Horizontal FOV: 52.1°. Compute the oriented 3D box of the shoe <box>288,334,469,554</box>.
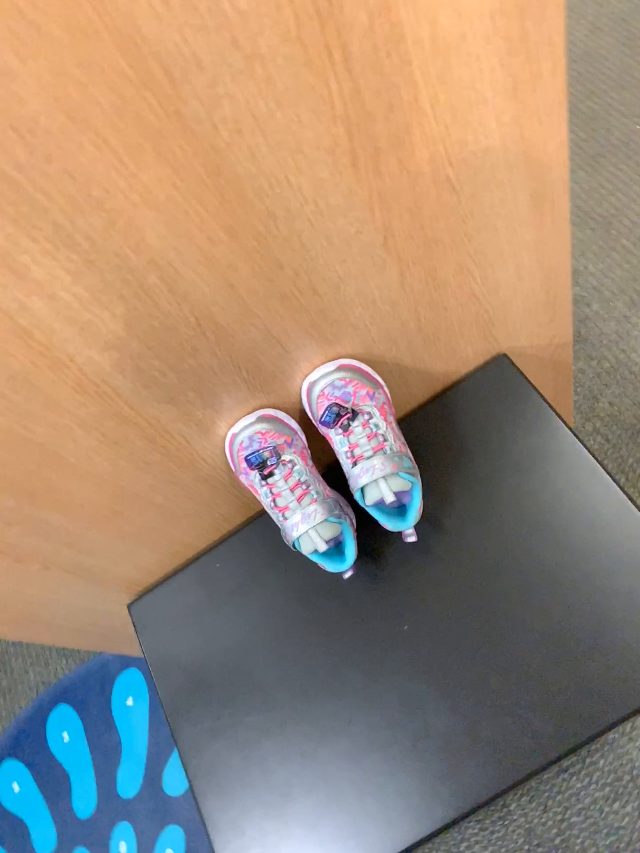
[{"bbox_3d":[0.056,0.016,0.661,0.090,0.180,0.100,-31,20,4],"label":"shoe"}]

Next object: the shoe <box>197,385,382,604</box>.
[{"bbox_3d":[-0.033,0.066,0.663,0.090,0.180,0.100,-34,20,2],"label":"shoe"}]
